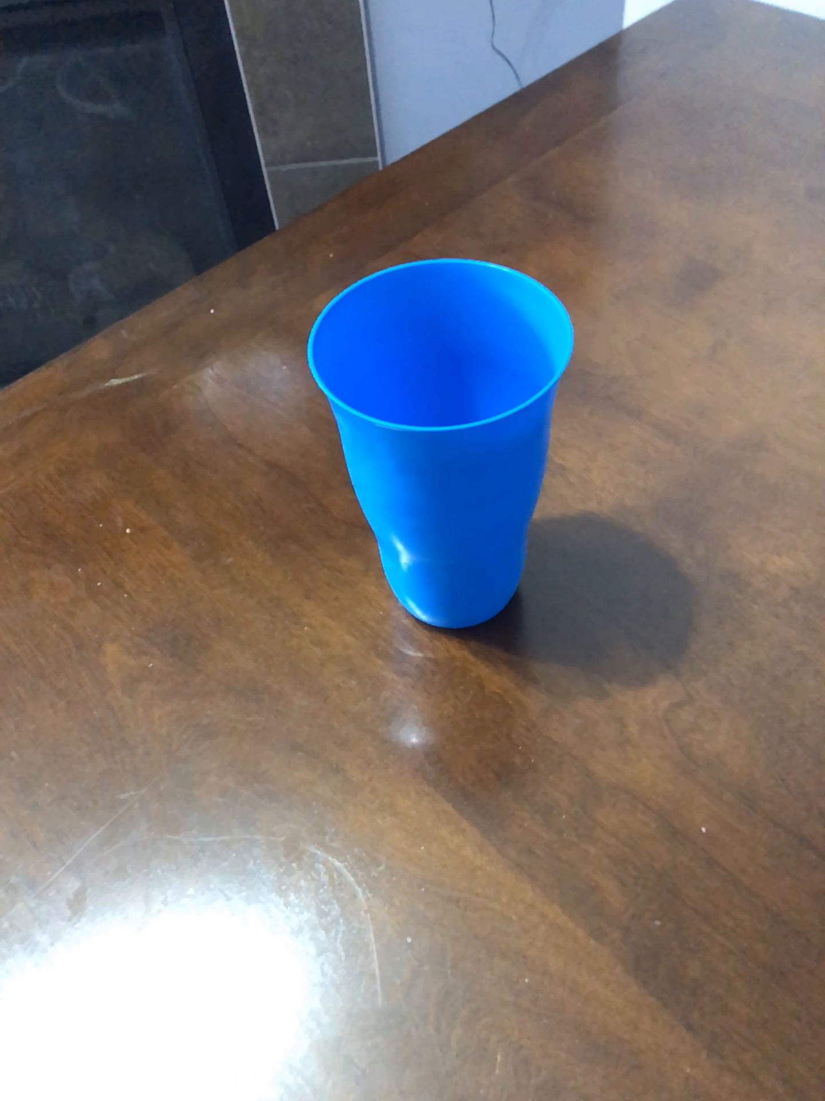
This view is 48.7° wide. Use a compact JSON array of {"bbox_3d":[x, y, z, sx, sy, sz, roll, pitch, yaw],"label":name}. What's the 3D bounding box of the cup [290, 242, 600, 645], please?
[{"bbox_3d":[0.017,-0.039,0.375,0.100,0.130,0.100,-3,51,3],"label":"cup"}]
